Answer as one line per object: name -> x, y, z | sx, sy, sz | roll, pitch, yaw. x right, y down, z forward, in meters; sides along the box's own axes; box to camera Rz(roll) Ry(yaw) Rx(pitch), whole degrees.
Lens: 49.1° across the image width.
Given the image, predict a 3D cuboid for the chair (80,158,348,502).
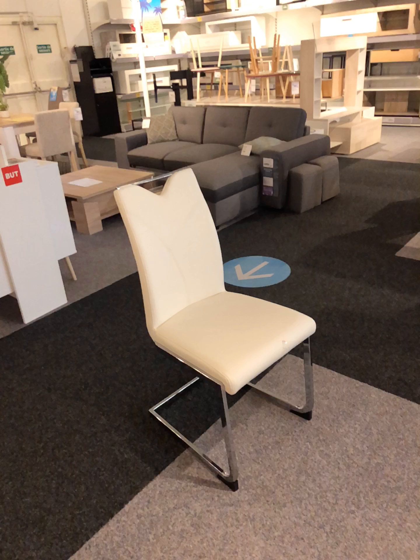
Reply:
chair -> 0.041, 0.107, 1.637 | 0.630, 0.915, 0.563 | 18, 33, 39
